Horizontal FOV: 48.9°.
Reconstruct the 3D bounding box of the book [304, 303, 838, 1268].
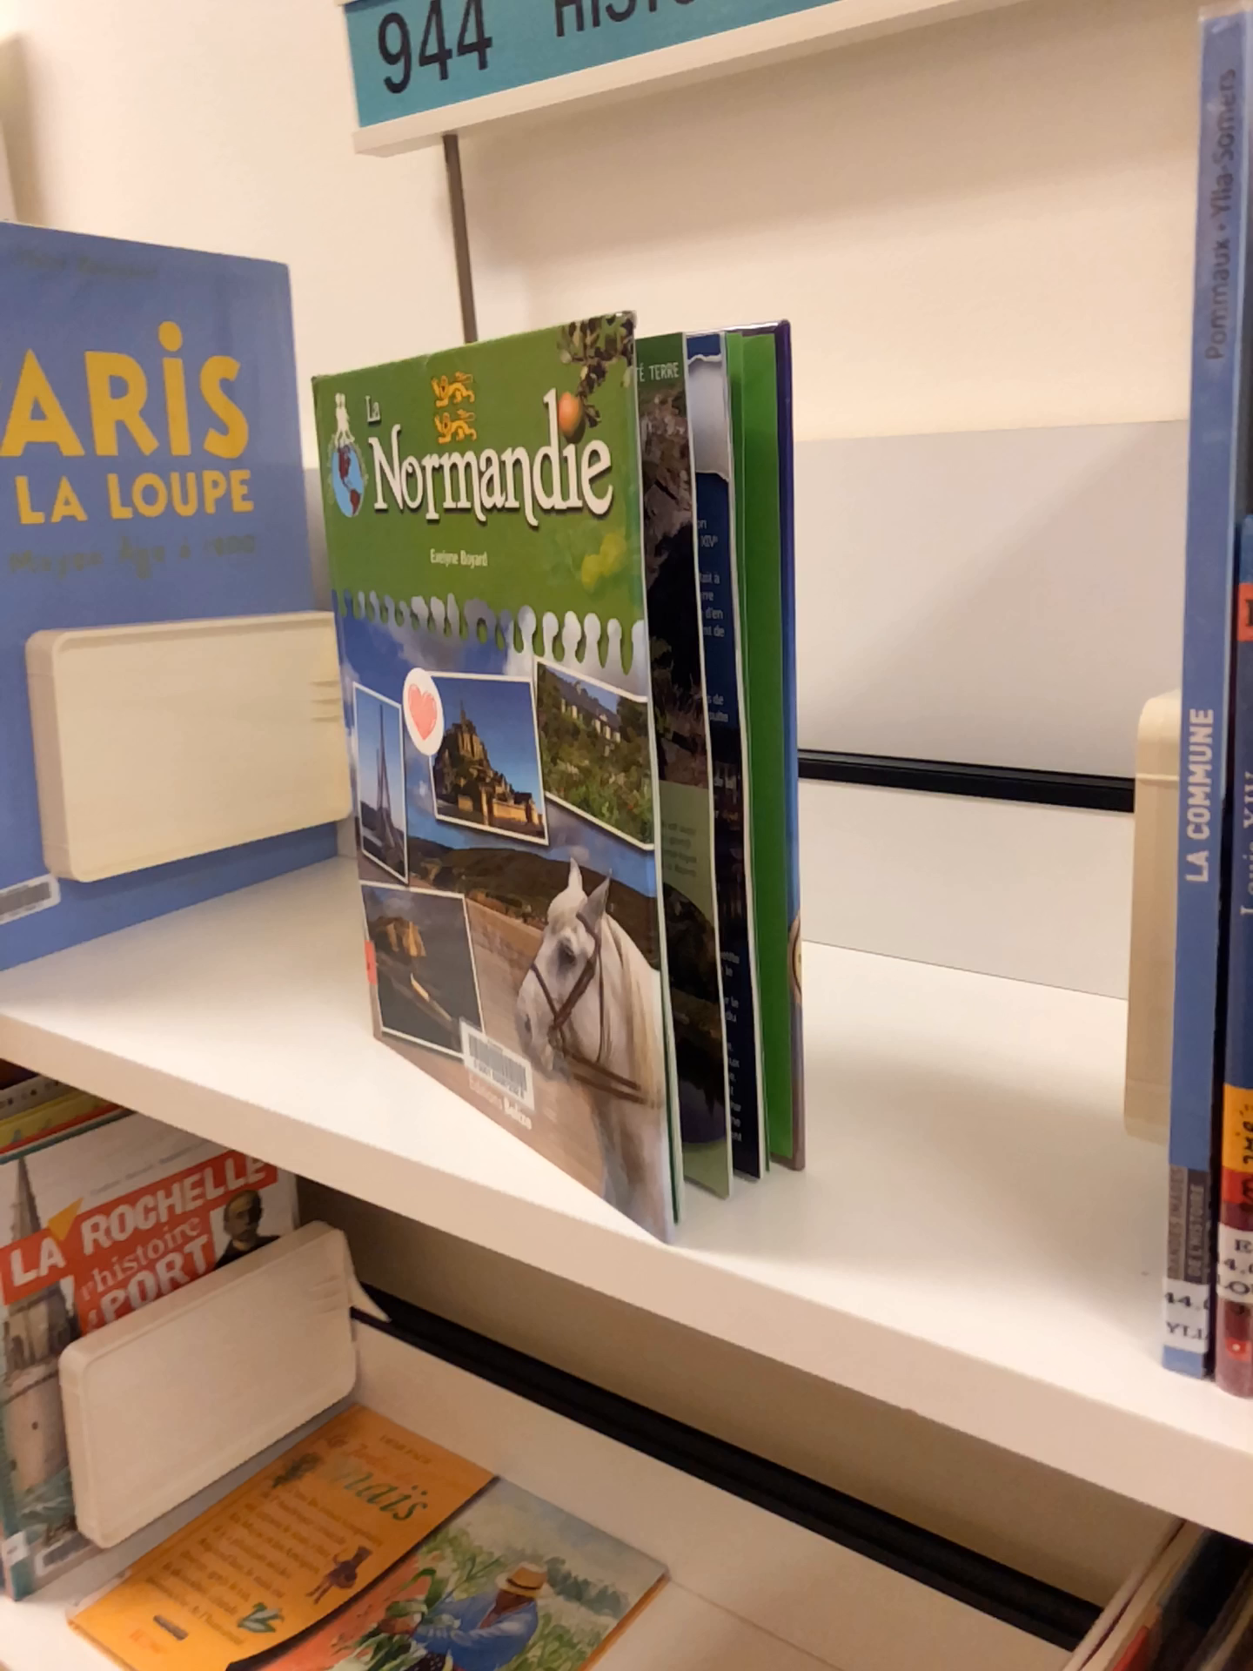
[{"bbox_3d":[-0.026,-0.029,0.456,0.077,0.249,0.208,-10,15,-29],"label":"book"}]
